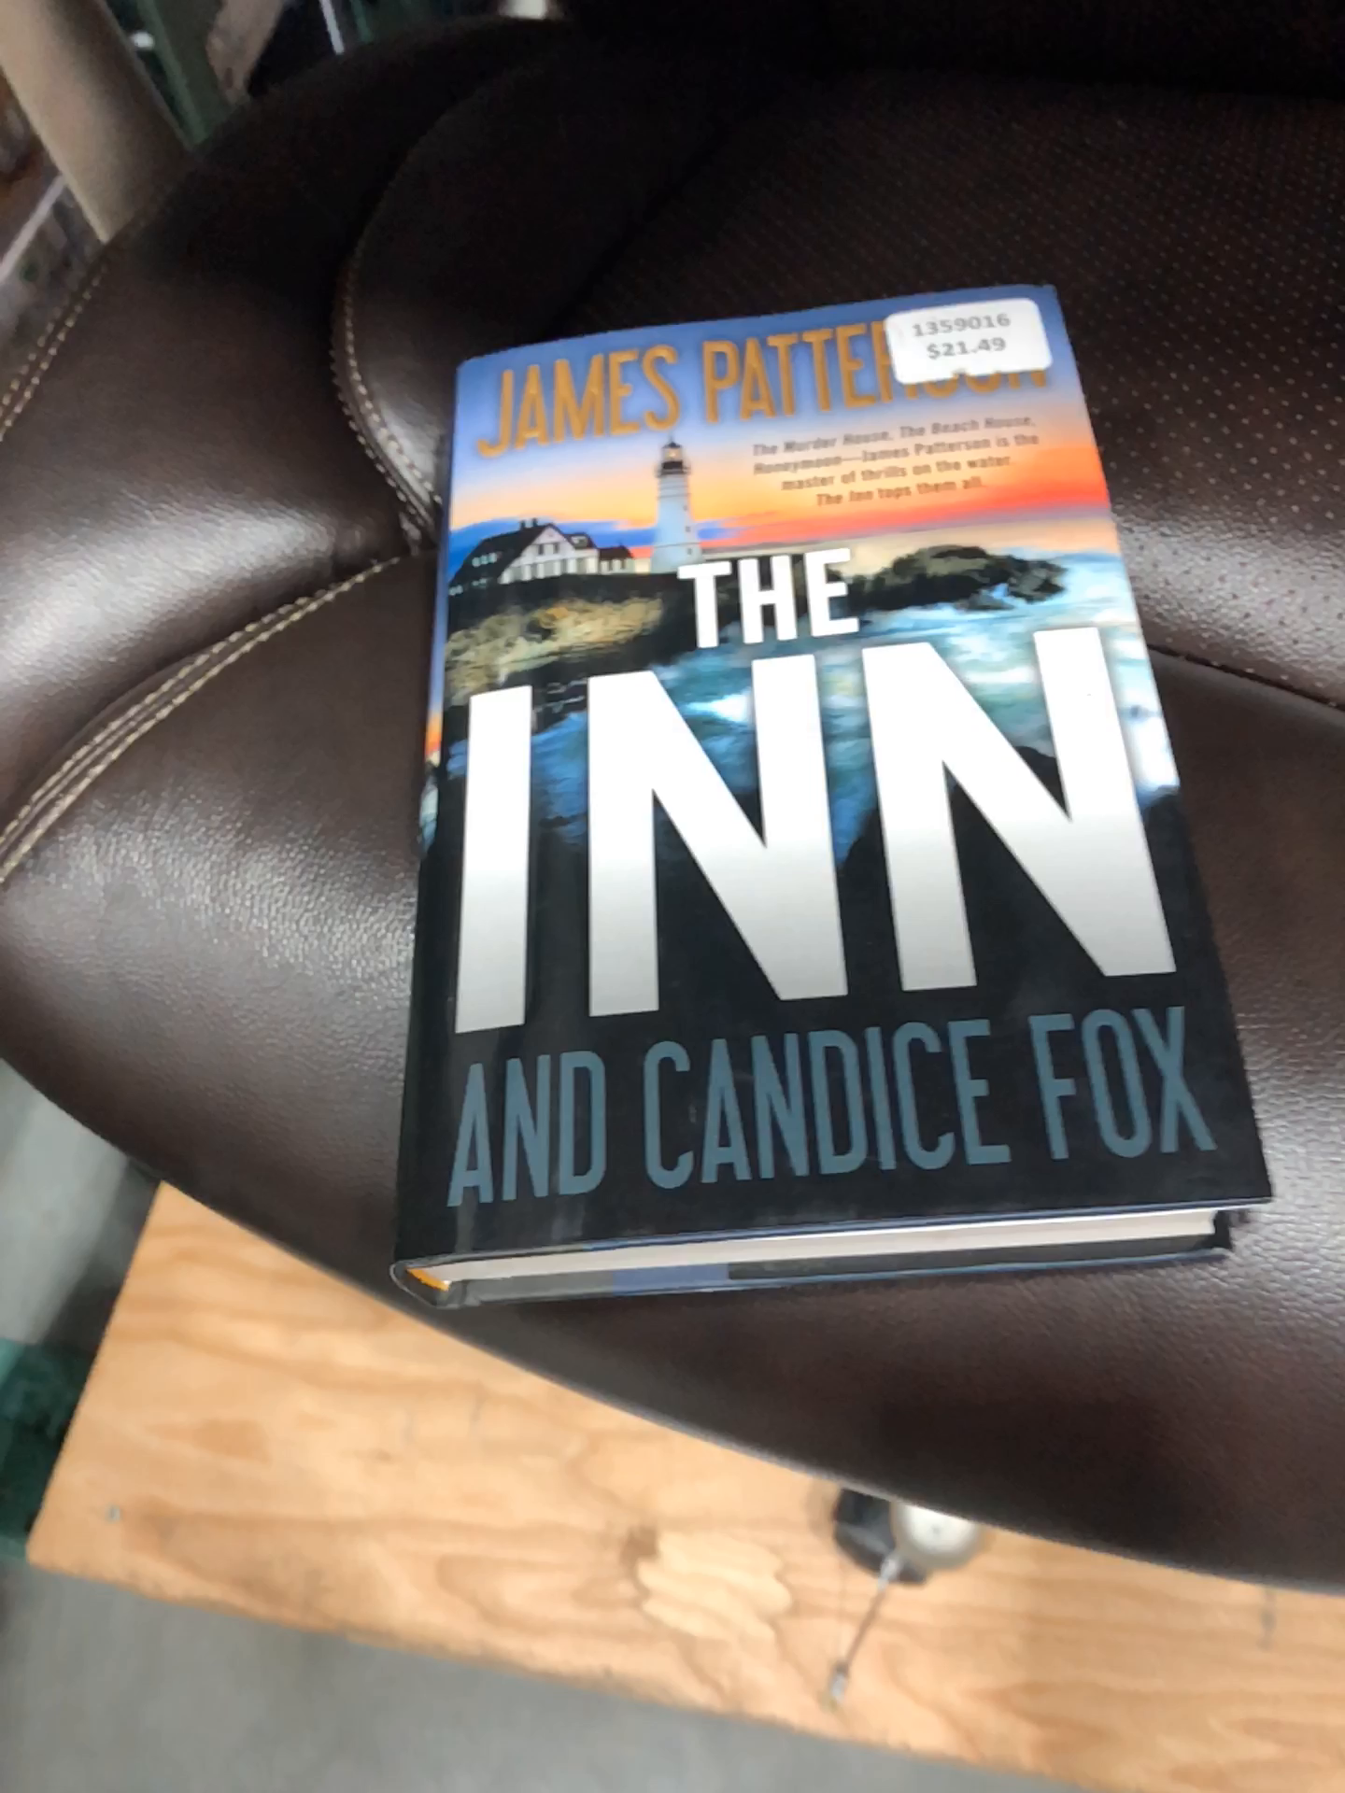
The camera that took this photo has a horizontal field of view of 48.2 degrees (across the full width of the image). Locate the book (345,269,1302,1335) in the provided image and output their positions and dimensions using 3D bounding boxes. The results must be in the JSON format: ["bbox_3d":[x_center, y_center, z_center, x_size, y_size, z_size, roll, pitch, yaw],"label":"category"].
[{"bbox_3d":[0.024,-0.035,0.348,0.170,0.040,0.251,-5,59,7],"label":"book"}]
